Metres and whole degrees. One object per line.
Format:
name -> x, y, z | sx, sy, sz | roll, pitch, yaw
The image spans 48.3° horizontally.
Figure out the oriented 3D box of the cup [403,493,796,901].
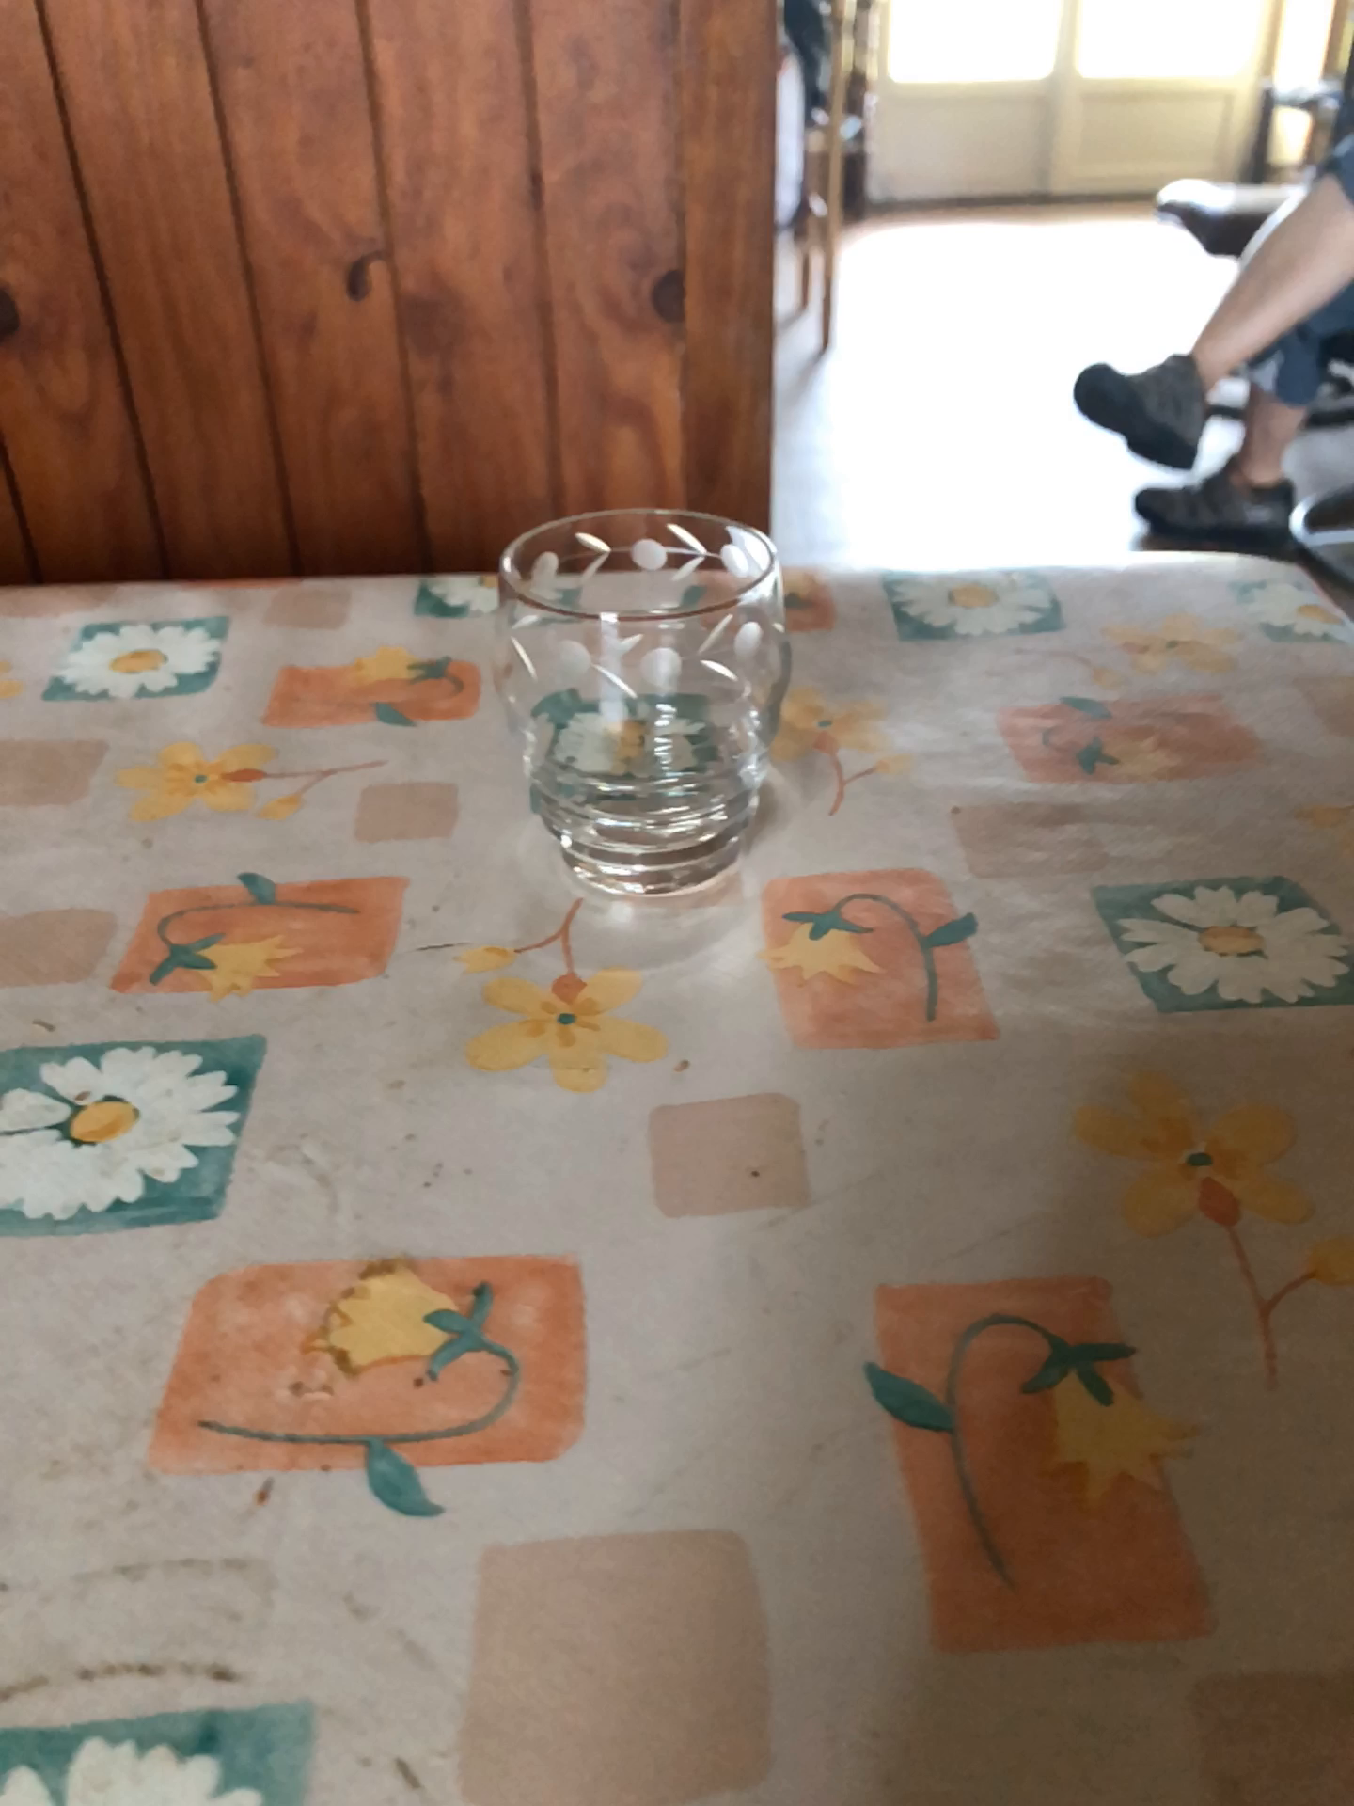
cup -> -0.010, -0.038, 0.269 | 0.060, 0.050, 0.060 | -1, 33, 1
